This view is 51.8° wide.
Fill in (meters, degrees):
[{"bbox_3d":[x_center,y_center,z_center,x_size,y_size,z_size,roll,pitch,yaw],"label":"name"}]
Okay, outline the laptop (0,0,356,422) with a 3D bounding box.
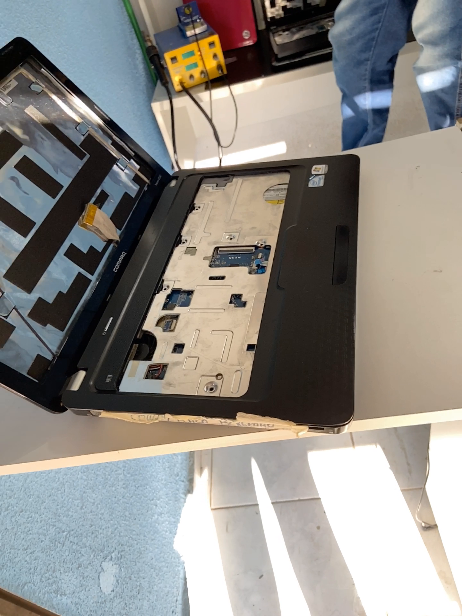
[{"bbox_3d":[-0.072,-0.107,0.419,0.336,0.182,0.333,-1,48,18],"label":"laptop"}]
